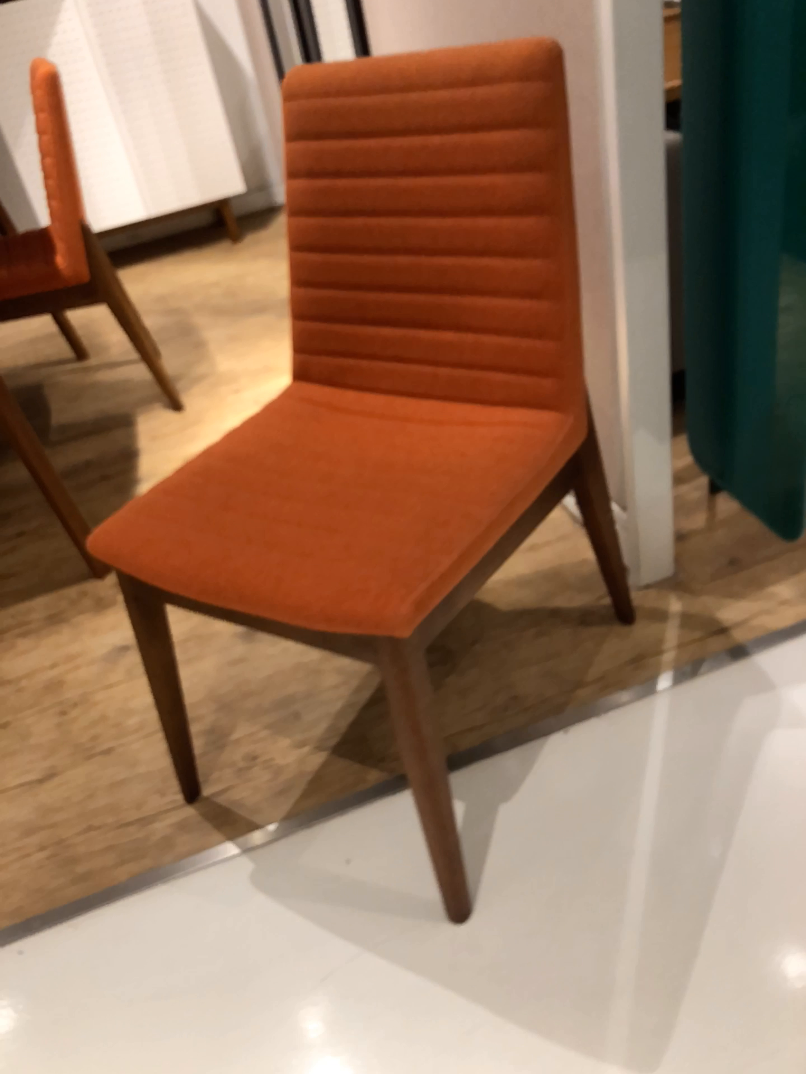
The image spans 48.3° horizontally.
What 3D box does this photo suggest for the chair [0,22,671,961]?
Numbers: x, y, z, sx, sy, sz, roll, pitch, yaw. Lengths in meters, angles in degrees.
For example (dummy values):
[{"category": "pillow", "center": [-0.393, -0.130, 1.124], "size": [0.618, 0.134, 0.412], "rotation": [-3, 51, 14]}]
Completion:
[{"category": "chair", "center": [-0.038, -0.085, 1.112], "size": [0.531, 0.814, 0.633], "rotation": [11, 41, 31]}]
